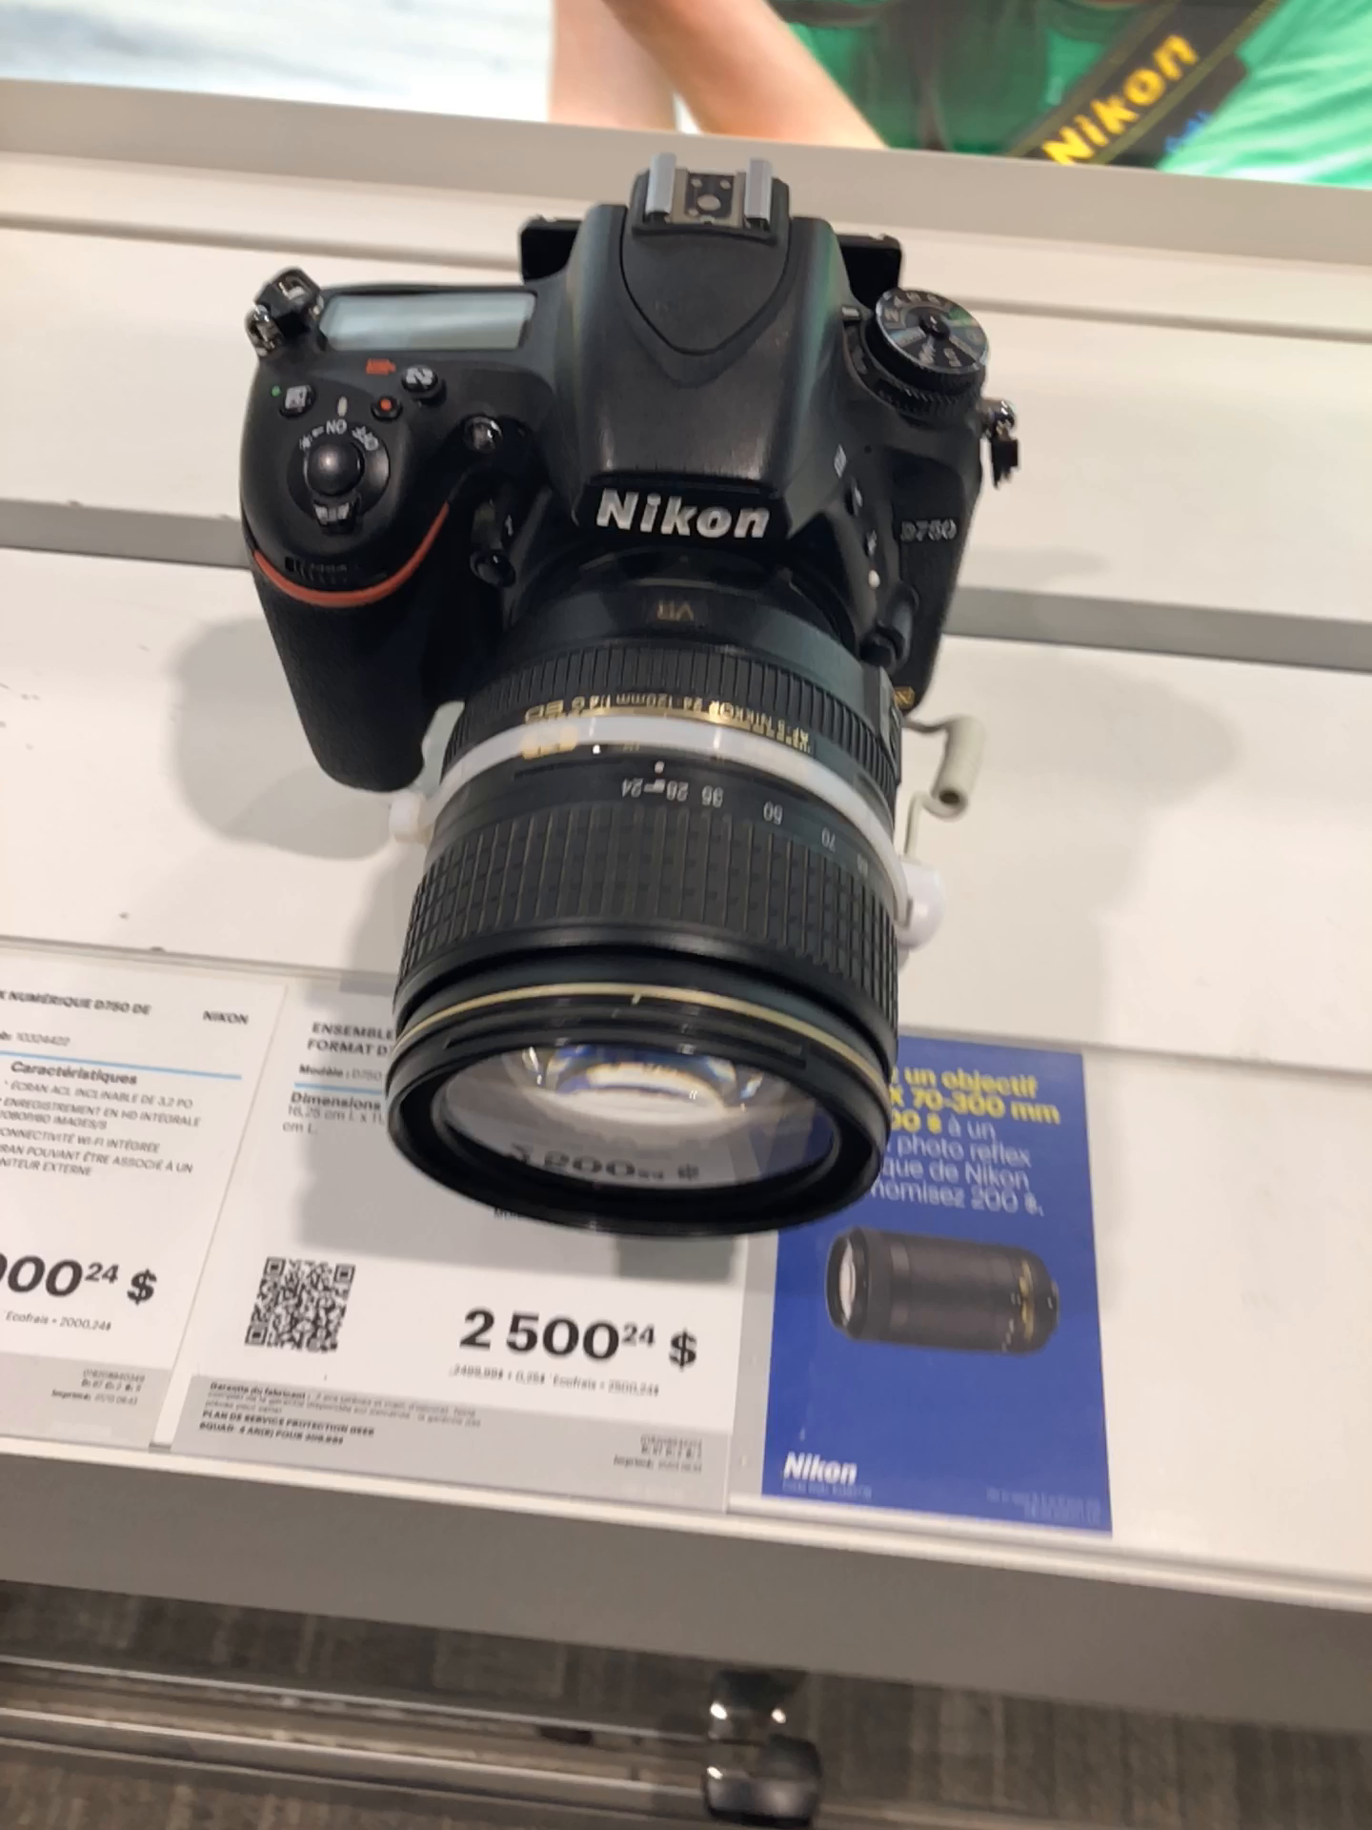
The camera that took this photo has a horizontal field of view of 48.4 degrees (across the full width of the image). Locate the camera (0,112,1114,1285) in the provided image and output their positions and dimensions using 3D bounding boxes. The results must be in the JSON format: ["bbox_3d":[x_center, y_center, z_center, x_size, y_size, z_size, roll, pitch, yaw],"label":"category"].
[{"bbox_3d":[-0.015,-0.044,0.274,0.138,0.099,0.184,4,54,0],"label":"camera"}]
